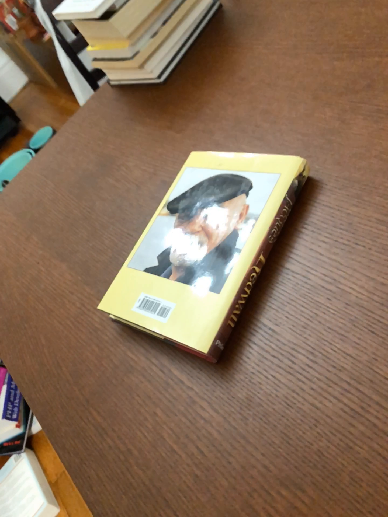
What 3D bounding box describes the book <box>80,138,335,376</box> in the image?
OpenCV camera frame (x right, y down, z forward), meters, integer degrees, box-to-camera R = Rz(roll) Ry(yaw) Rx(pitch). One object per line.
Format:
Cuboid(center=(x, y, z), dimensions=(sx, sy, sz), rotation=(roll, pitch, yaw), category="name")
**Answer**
Cuboid(center=(0.012, -0.027, 0.465), dimensions=(0.191, 0.030, 0.250), rotation=(14, 66, 39), category="book")
